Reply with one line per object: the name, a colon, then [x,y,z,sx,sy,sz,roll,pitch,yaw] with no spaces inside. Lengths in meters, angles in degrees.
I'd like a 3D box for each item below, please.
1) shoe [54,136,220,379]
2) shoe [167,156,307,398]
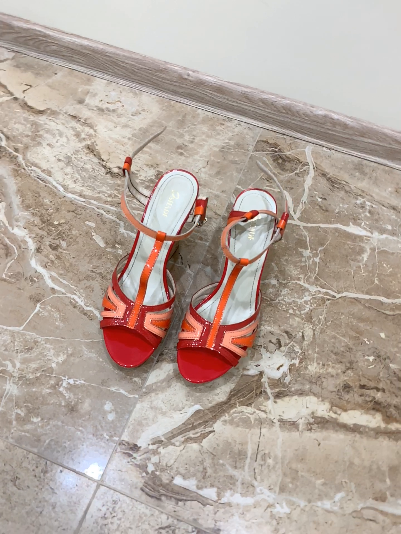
shoe: [-0.057,-0.010,0.459,0.083,0.140,0.218,18,59,5]
shoe: [0.039,0.009,0.450,0.080,0.130,0.218,18,59,5]
